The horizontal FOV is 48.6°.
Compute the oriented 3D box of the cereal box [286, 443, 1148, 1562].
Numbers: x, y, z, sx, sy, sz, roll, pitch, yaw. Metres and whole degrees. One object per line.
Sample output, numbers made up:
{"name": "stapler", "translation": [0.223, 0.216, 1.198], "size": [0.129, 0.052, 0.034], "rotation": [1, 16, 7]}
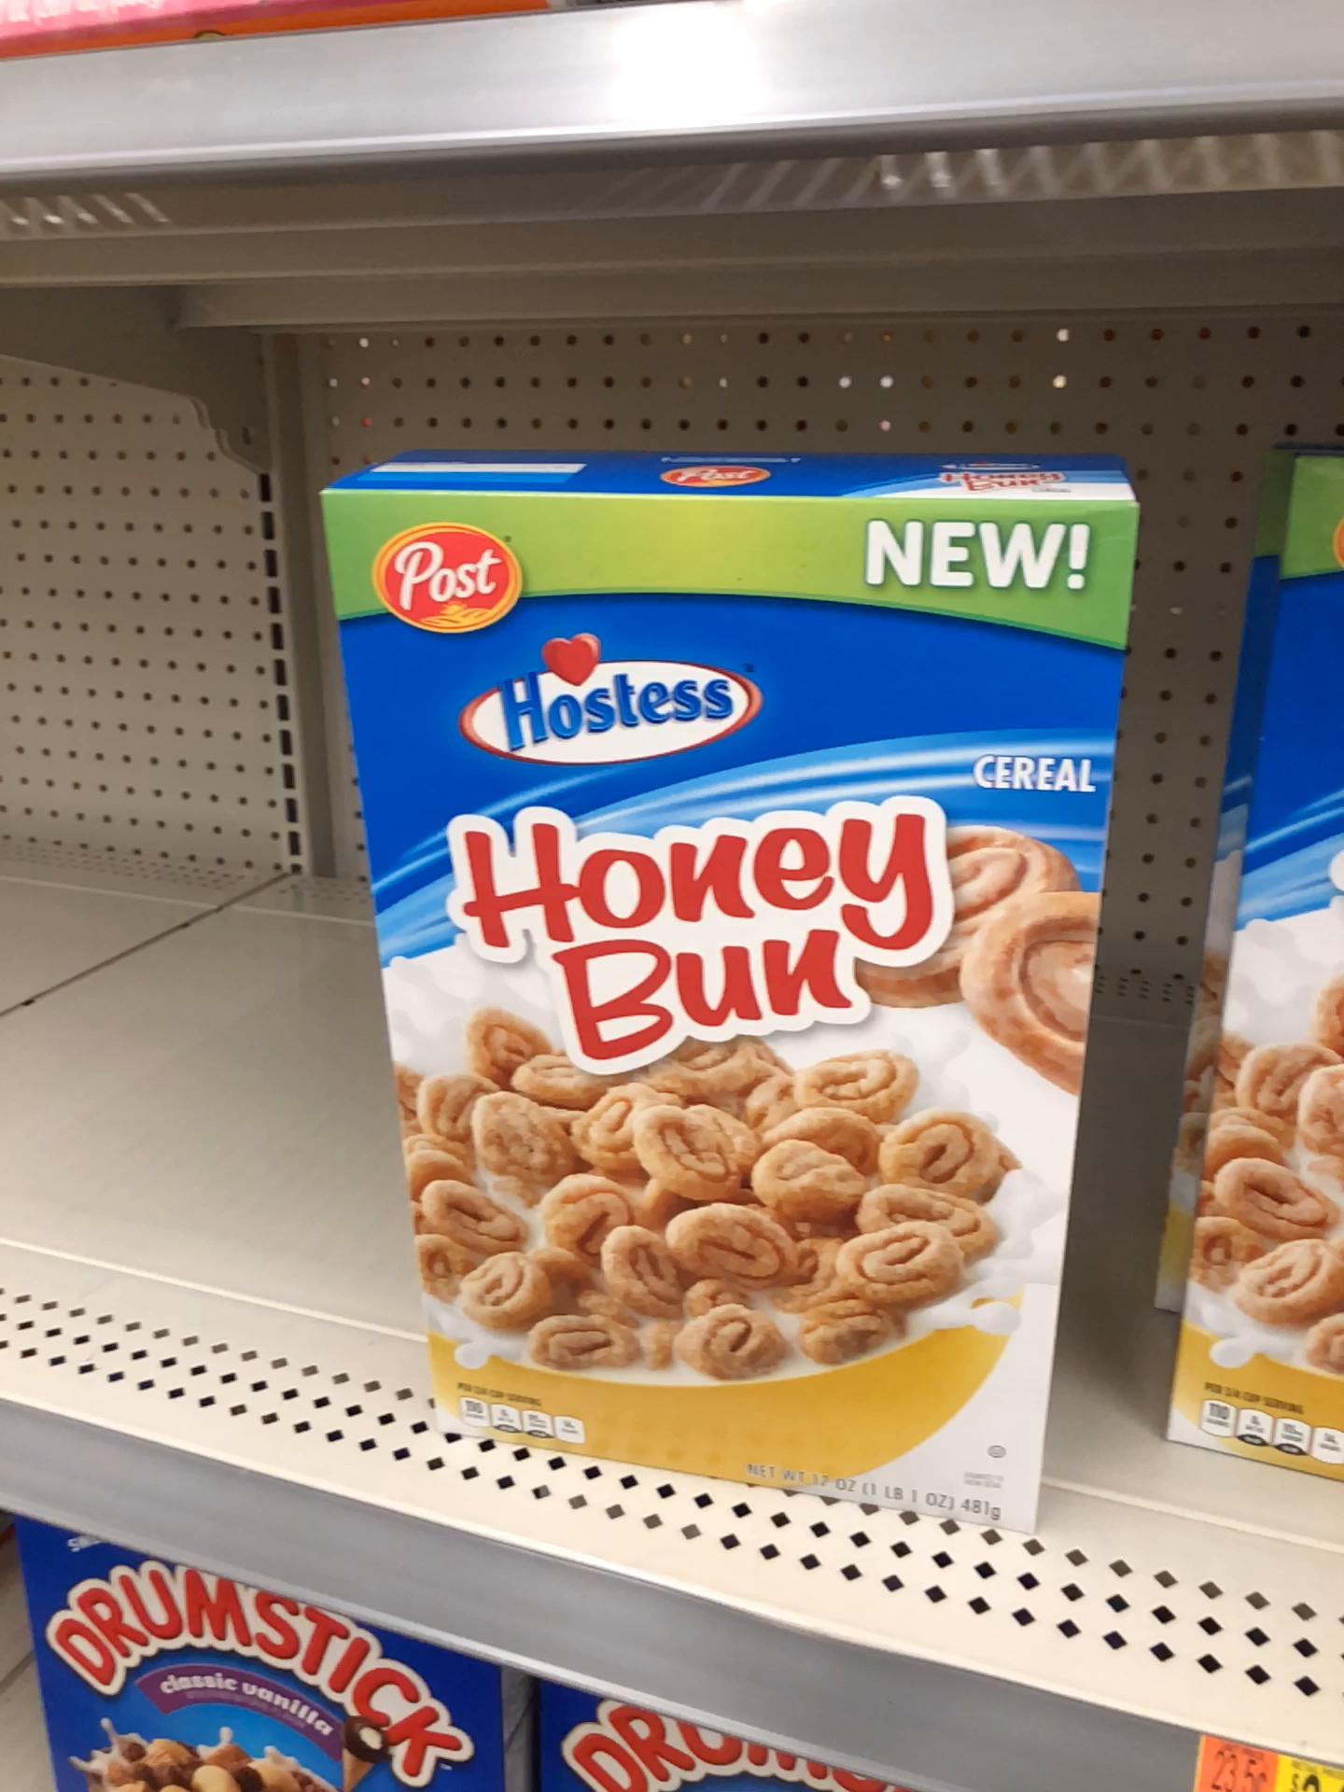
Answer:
{"name": "cereal box", "translation": [0.015, 0.035, 0.426], "size": [0.200, 0.309, 0.060], "rotation": [5, 25, 14]}
